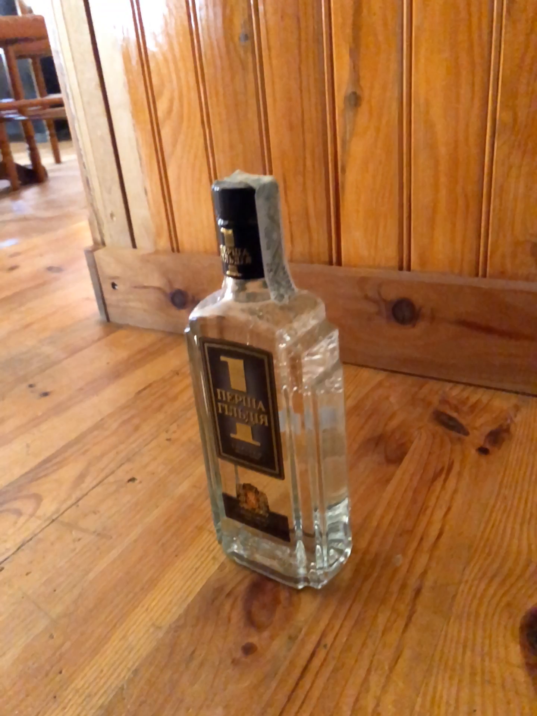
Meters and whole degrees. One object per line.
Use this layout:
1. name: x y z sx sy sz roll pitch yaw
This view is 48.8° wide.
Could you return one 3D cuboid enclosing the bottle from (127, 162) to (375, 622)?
1. bottle: -0.001 0.021 0.343 0.100 0.249 0.060 13 32 35
